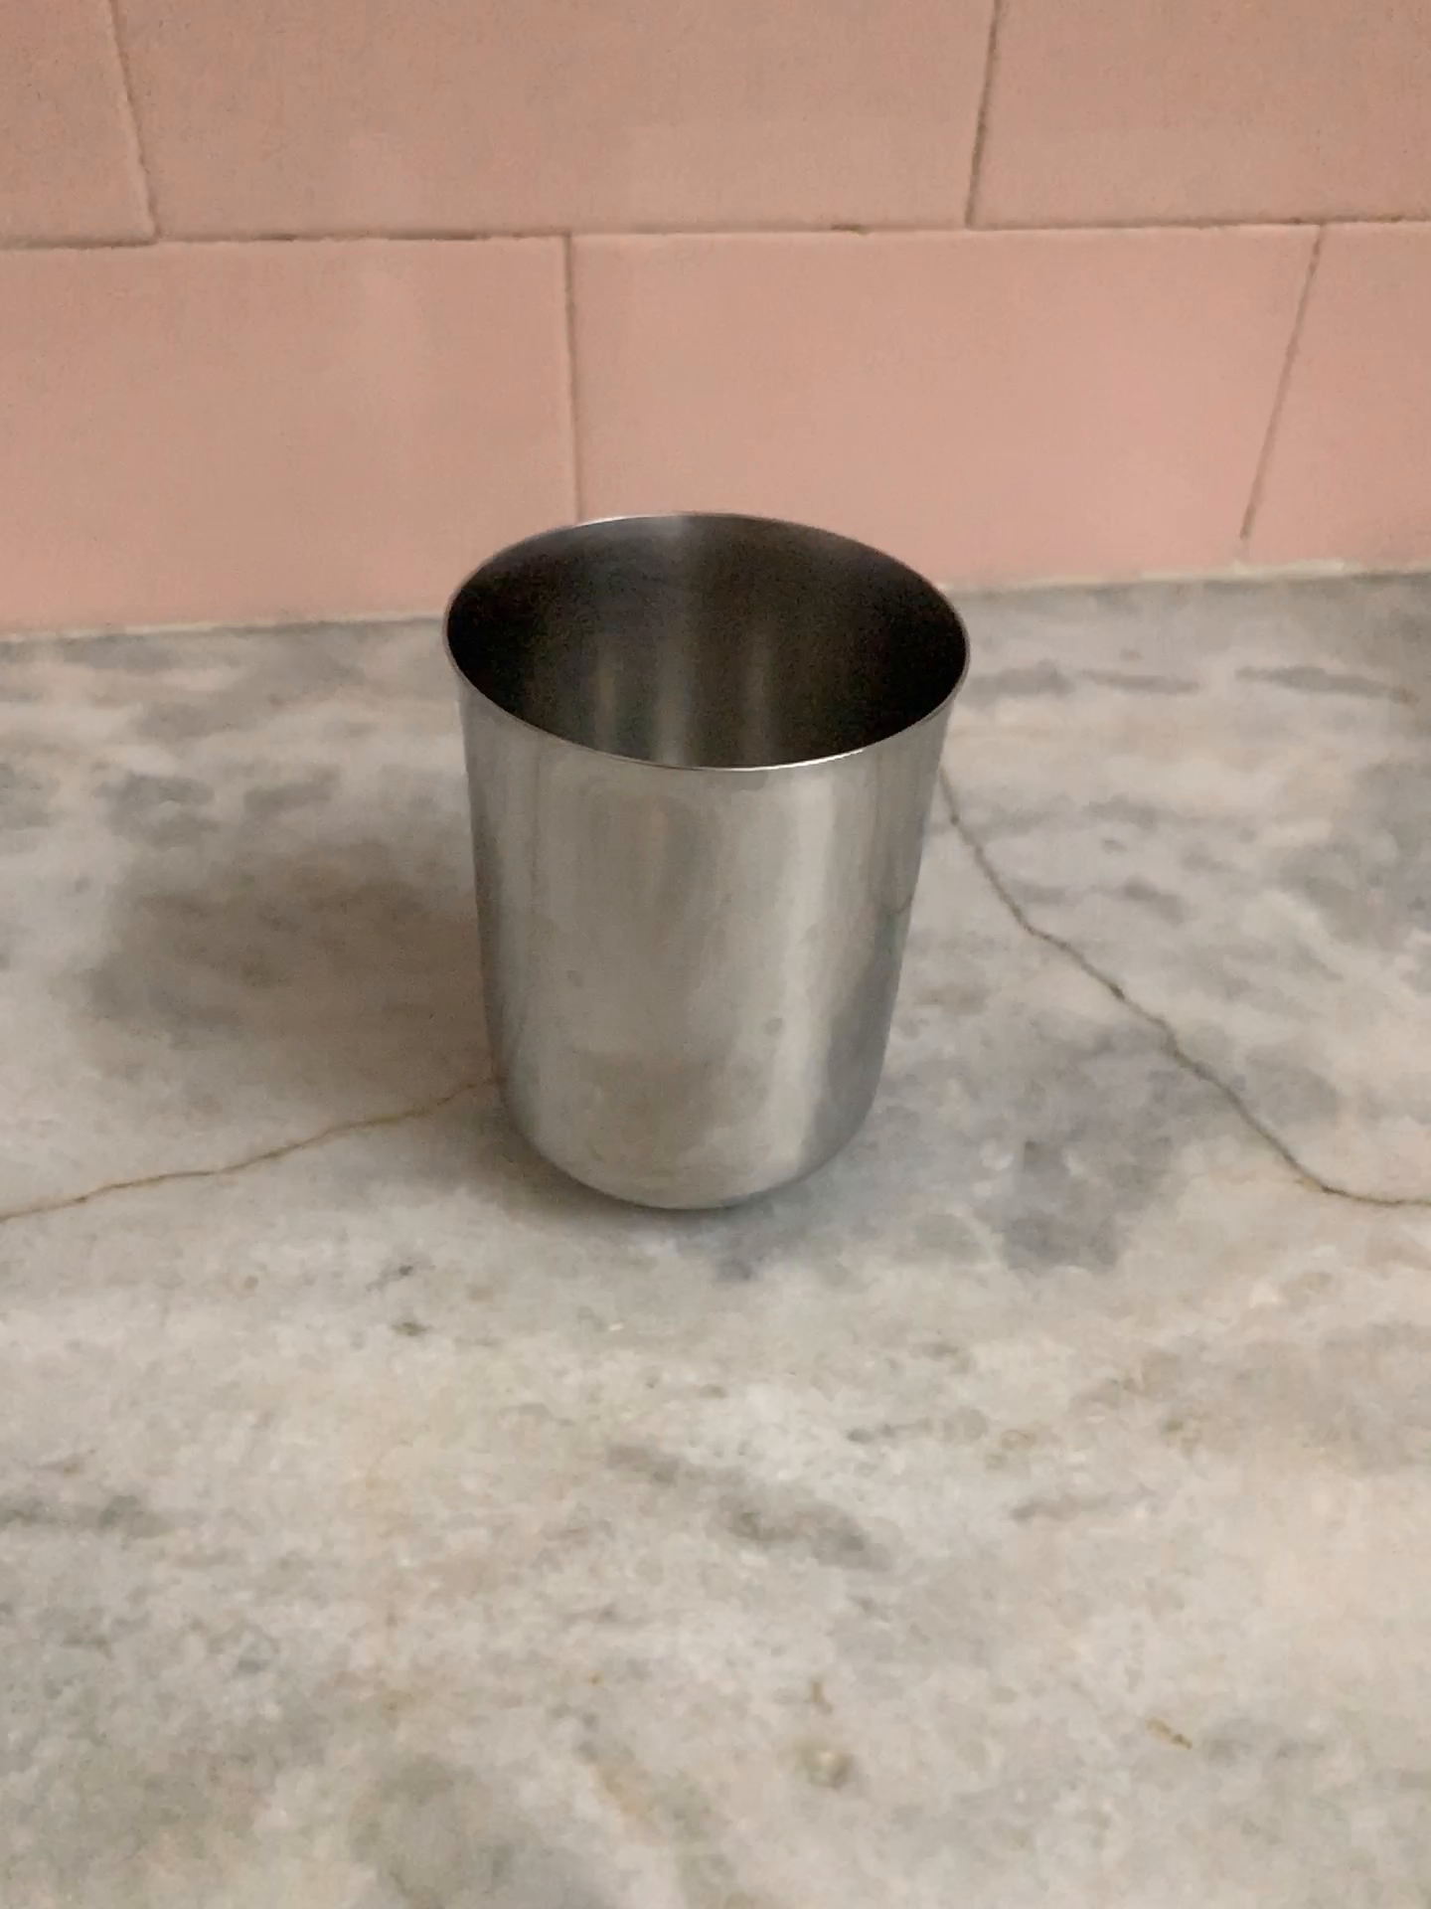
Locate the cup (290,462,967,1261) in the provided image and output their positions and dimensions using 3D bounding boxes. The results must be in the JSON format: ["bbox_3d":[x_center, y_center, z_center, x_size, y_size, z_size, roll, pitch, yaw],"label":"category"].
[{"bbox_3d":[-0.008,-0.016,0.235,0.080,0.090,0.080,1,40,-1],"label":"cup"}]
